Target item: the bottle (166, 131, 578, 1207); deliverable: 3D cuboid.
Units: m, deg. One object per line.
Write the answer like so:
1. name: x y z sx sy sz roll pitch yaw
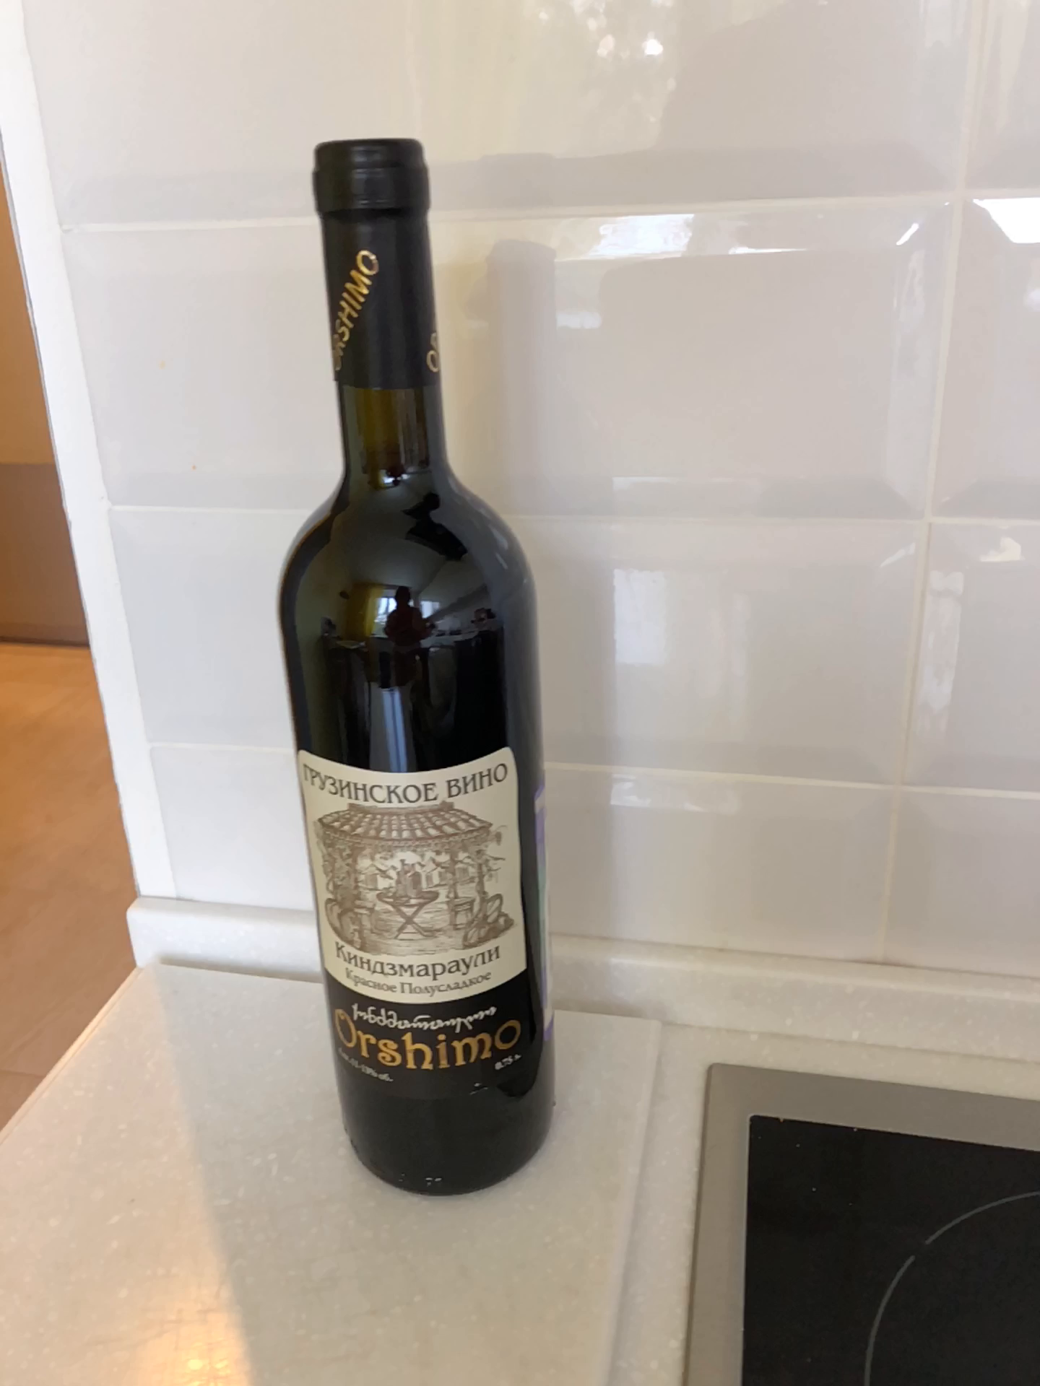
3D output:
1. bottle: -0.027 0.004 0.336 0.080 0.298 0.081 -2 23 1
